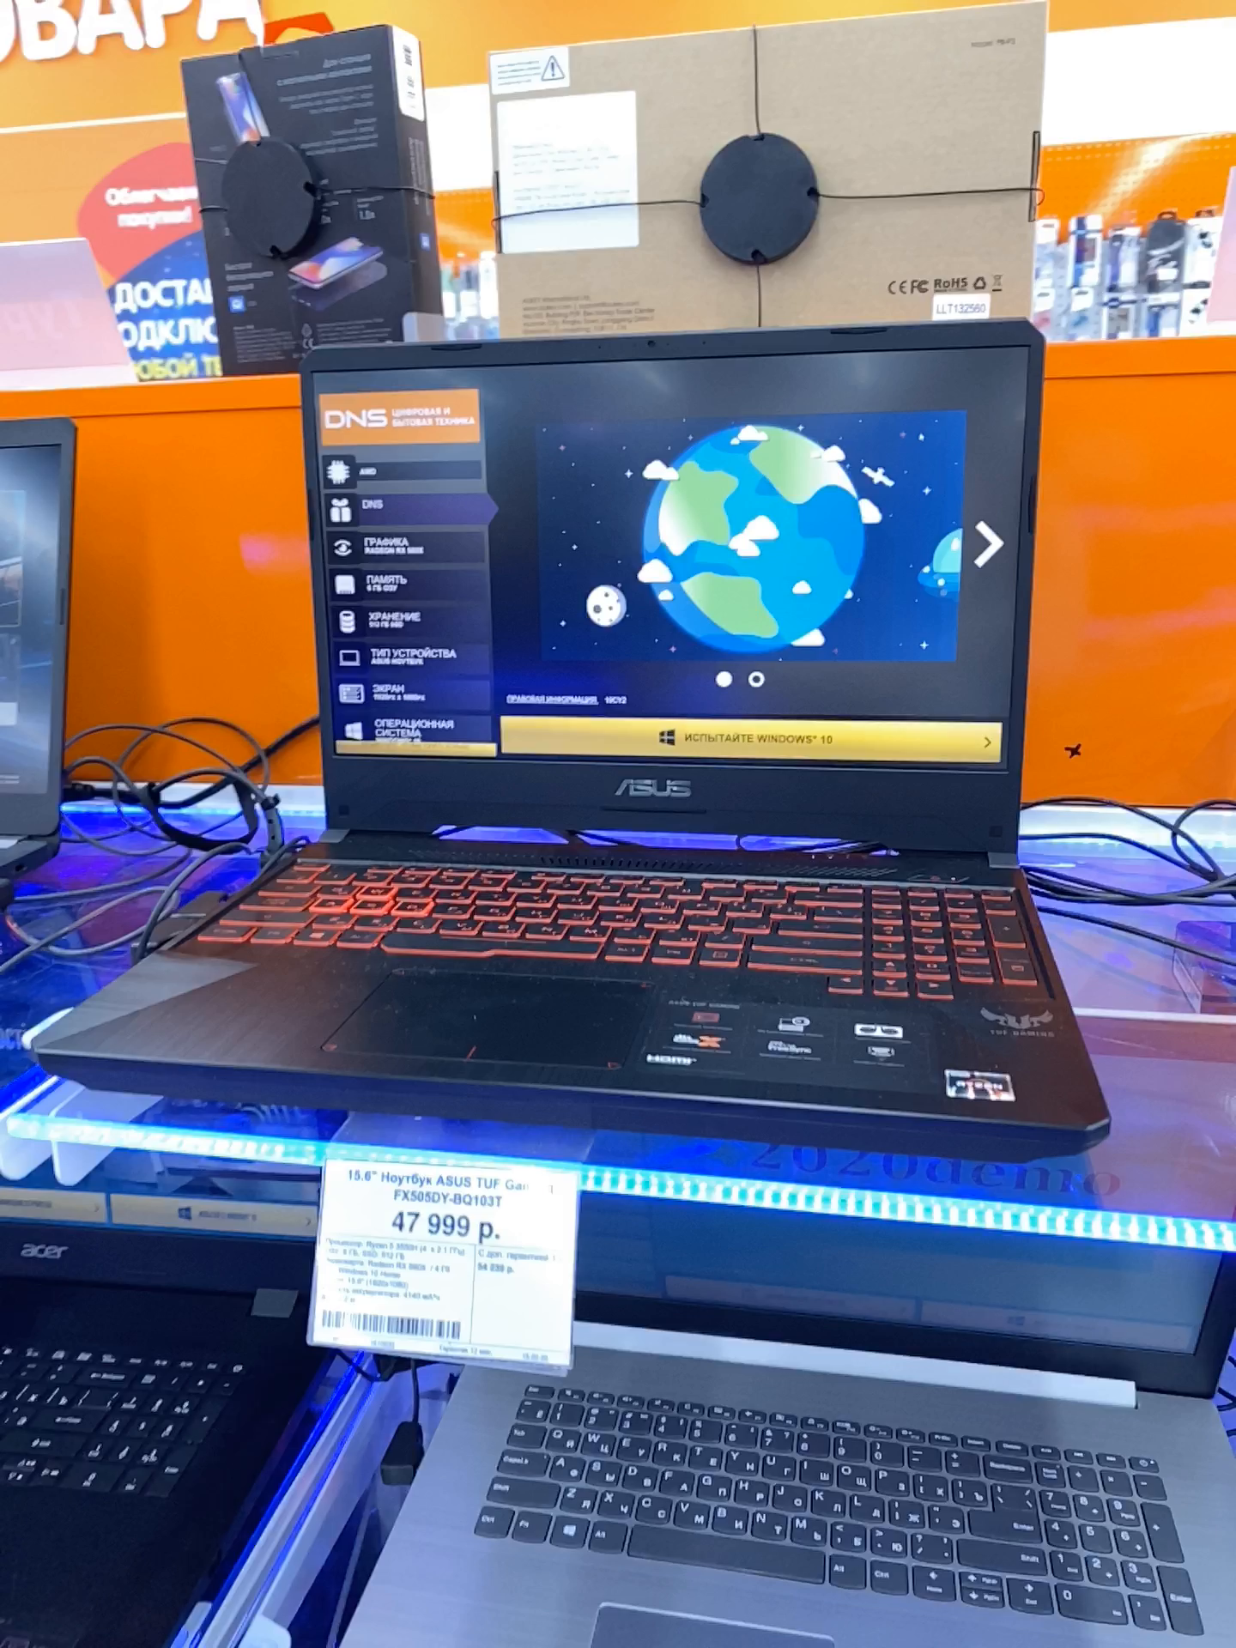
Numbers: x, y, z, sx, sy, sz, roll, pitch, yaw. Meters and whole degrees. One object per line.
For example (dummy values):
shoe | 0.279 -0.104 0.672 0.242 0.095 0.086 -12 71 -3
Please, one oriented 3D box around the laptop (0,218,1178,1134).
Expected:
laptop | -0.011 -0.076 0.512 0.359 0.248 0.287 2 16 11
